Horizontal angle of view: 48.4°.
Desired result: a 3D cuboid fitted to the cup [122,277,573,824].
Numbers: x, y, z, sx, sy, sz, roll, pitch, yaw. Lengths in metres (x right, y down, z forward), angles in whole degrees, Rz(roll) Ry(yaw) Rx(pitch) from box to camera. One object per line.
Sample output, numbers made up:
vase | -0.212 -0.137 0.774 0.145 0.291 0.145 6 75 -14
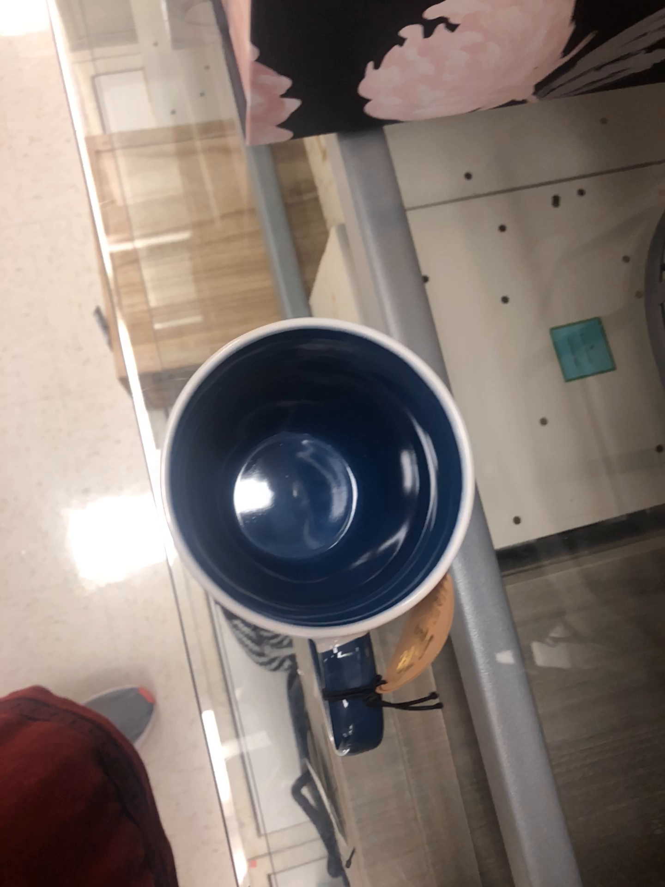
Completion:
cup | -0.001 0.034 0.277 0.116 0.097 0.150 -10 83 -8
